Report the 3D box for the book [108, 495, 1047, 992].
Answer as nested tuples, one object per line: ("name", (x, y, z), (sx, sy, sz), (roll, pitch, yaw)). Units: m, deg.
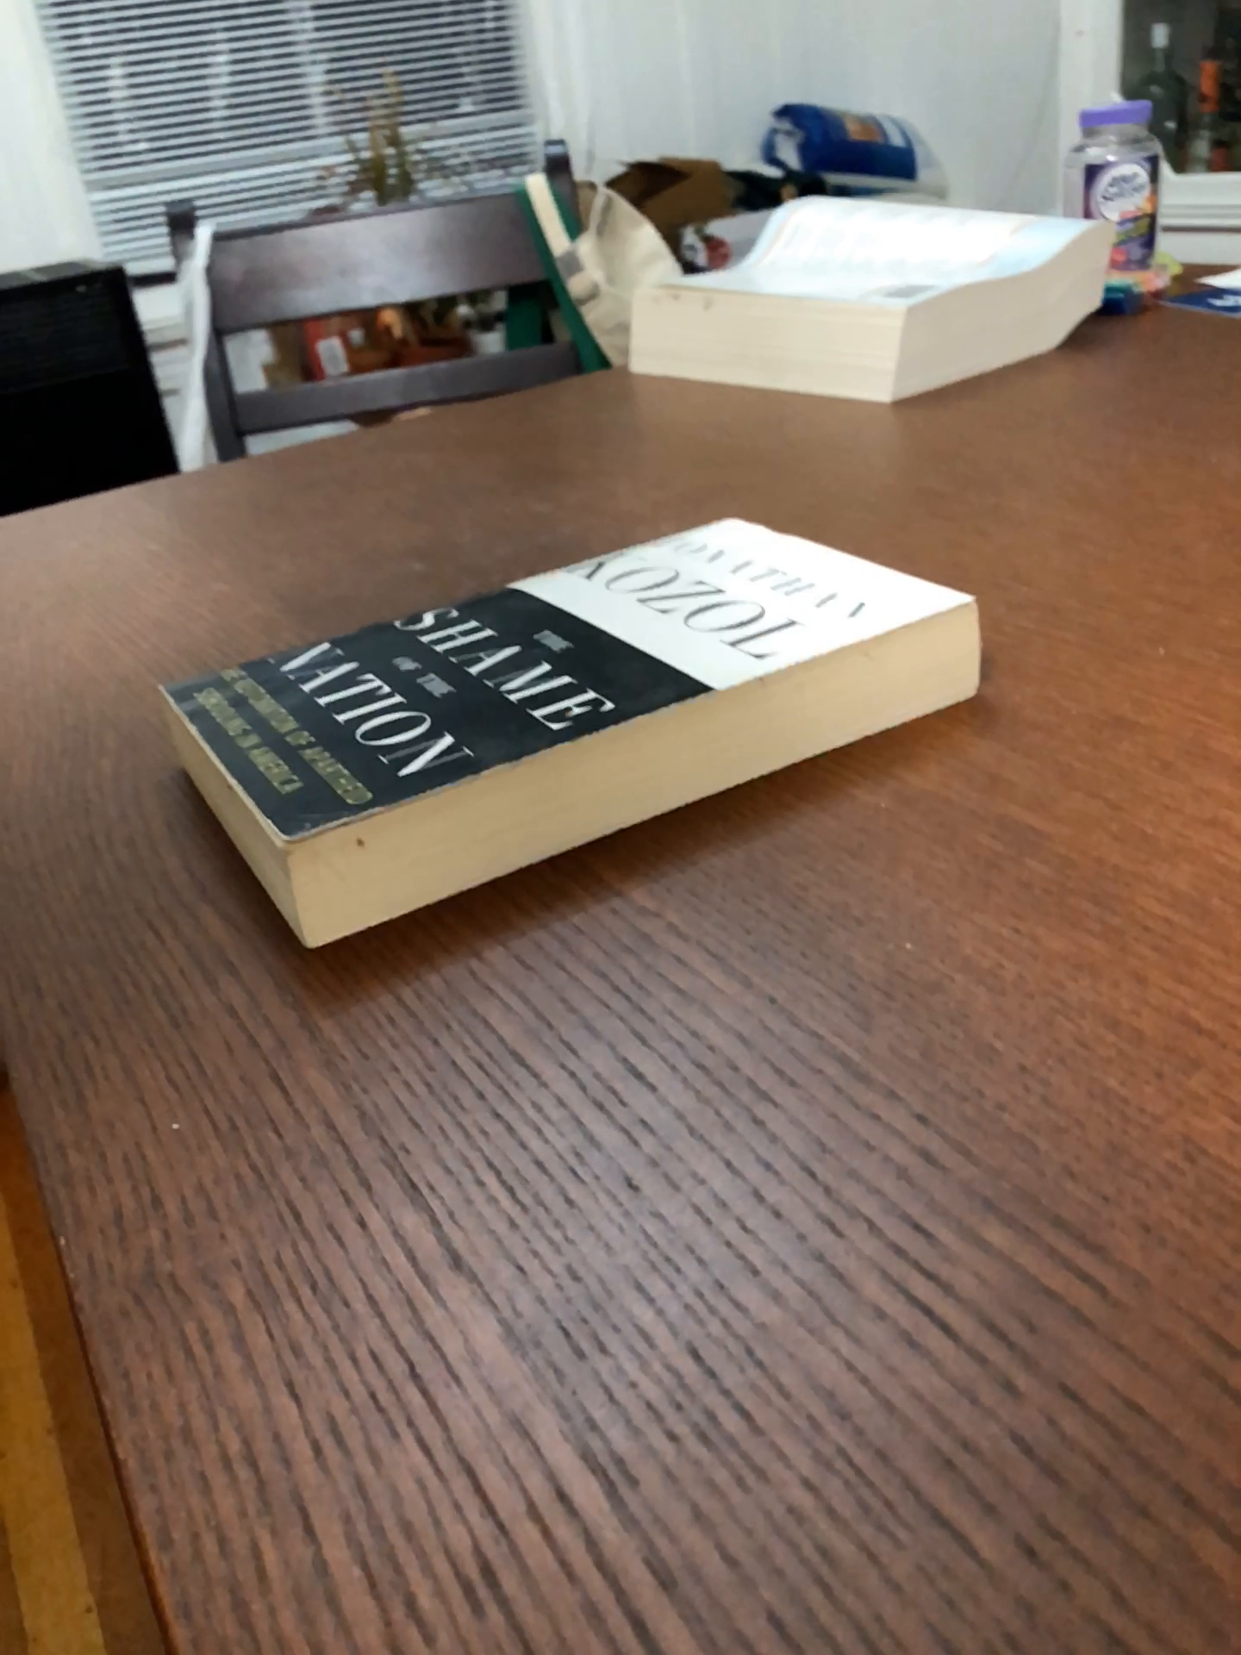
("book", (-0.018, -0.043, 0.409), (0.230, 0.030, 0.161), (-21, 30, -21))
